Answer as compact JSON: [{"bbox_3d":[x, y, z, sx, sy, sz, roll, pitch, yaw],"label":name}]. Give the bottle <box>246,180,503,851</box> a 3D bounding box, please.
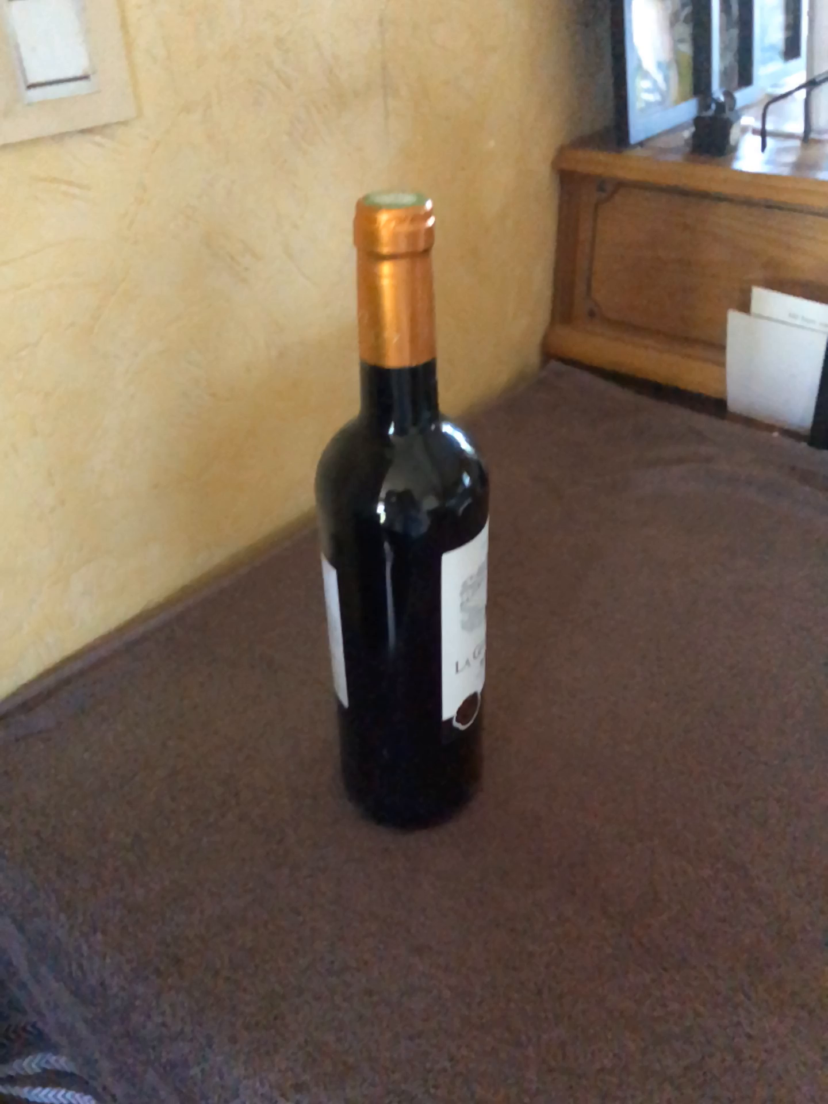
[{"bbox_3d":[-0.007,0.002,0.405,0.080,0.298,0.081,-1,35,1],"label":"bottle"}]
